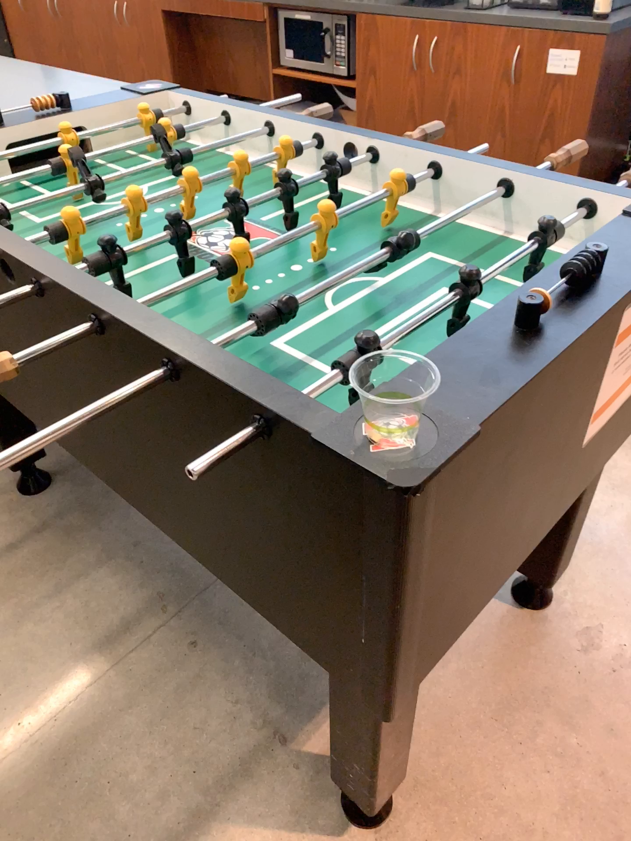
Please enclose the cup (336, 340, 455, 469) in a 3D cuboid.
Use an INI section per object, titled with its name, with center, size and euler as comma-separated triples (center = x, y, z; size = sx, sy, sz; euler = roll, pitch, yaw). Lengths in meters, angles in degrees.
[cup]
center = 0.065, -0.015, 0.530
size = 0.070, 0.060, 0.070
euler = -1, 39, 1
